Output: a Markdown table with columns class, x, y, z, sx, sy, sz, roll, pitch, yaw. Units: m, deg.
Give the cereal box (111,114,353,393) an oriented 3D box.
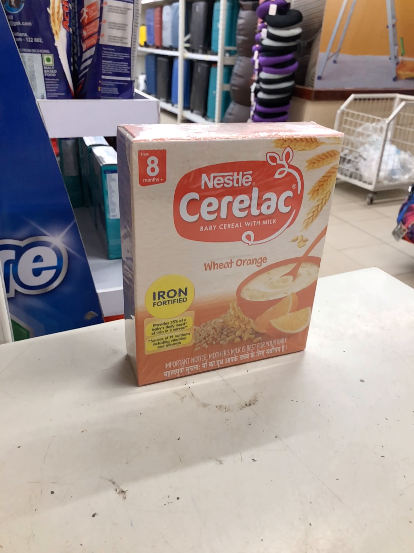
| class | x | y | z | sx | sy | sz | roll | pitch | yaw |
| --- | --- | --- | --- | --- | --- | --- | --- | --- | --- |
| cereal box | 0.014 | -0.019 | 0.361 | 0.160 | 0.199 | 0.050 | -8 | 30 | -20 |
